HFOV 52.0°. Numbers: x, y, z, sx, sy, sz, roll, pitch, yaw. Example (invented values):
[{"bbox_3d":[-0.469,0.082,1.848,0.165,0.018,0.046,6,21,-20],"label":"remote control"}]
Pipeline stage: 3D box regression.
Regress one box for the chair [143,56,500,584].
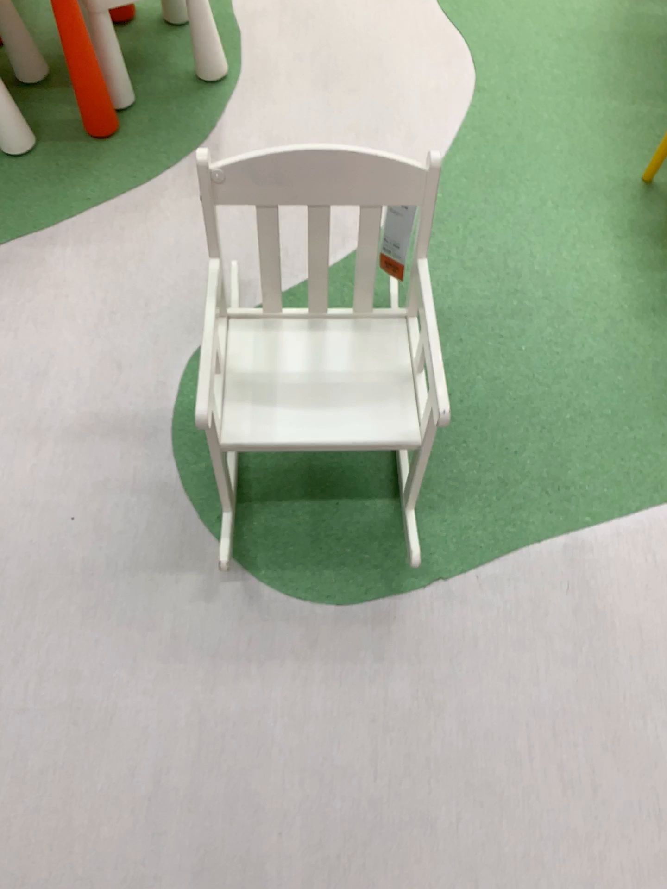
[{"bbox_3d":[-0.027,-0.188,1.171,0.410,0.499,0.731,0,64,-2],"label":"chair"}]
